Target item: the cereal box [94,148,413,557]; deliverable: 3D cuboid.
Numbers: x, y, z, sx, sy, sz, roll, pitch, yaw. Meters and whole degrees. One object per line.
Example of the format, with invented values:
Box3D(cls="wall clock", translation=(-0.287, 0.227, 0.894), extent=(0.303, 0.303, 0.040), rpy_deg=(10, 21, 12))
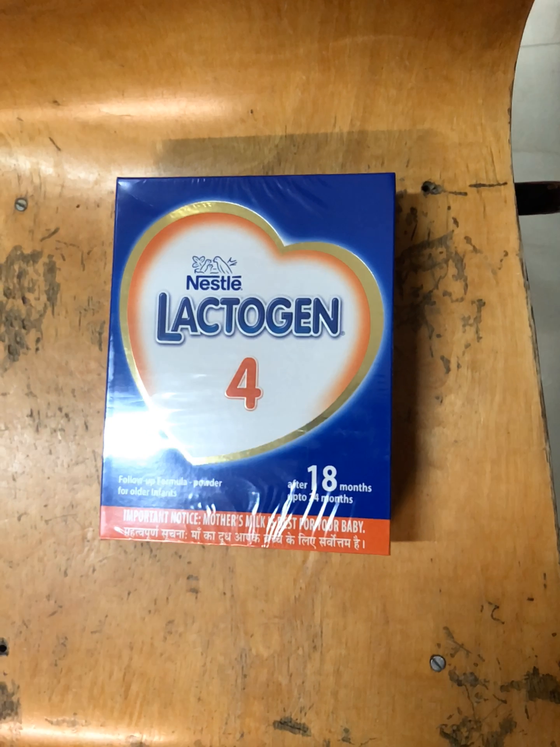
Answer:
Box3D(cls="cereal box", translation=(-0.010, -0.011, 0.327), extent=(0.150, 0.060, 0.190), rpy_deg=(1, 87, 6))
